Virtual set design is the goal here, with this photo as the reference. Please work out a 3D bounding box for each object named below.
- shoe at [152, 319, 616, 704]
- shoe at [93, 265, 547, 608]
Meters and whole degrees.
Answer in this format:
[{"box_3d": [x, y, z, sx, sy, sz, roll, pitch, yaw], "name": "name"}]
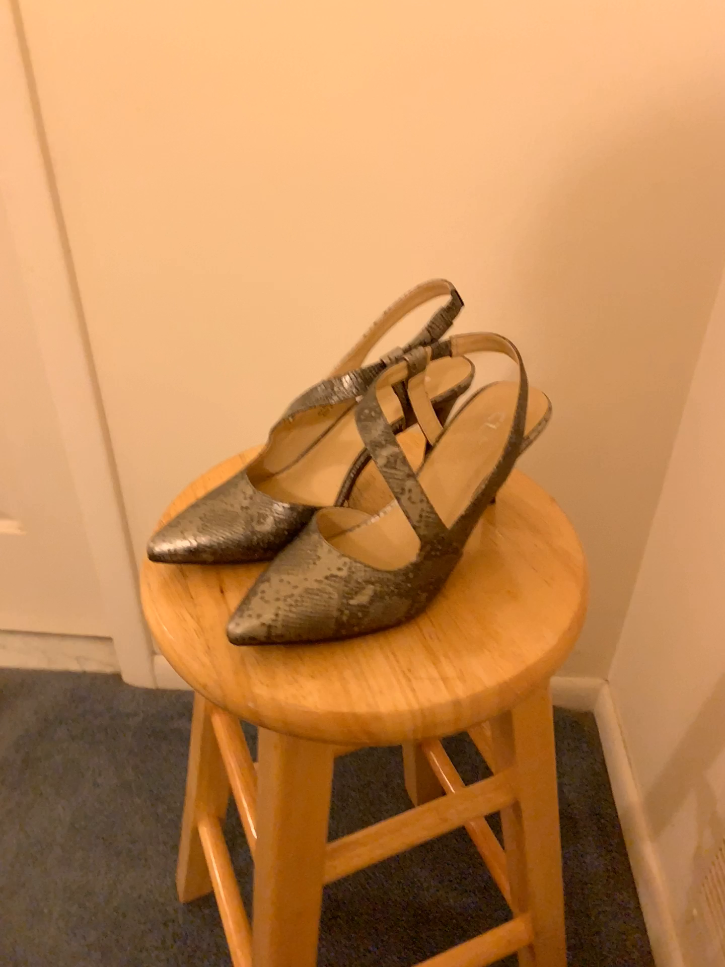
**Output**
[{"box_3d": [0.022, -0.001, 0.439, 0.250, 0.106, 0.103, -25, 42, -32], "name": "shoe"}, {"box_3d": [-0.017, -0.046, 0.495, 0.270, 0.124, 0.100, -21, 40, -29], "name": "shoe"}]
